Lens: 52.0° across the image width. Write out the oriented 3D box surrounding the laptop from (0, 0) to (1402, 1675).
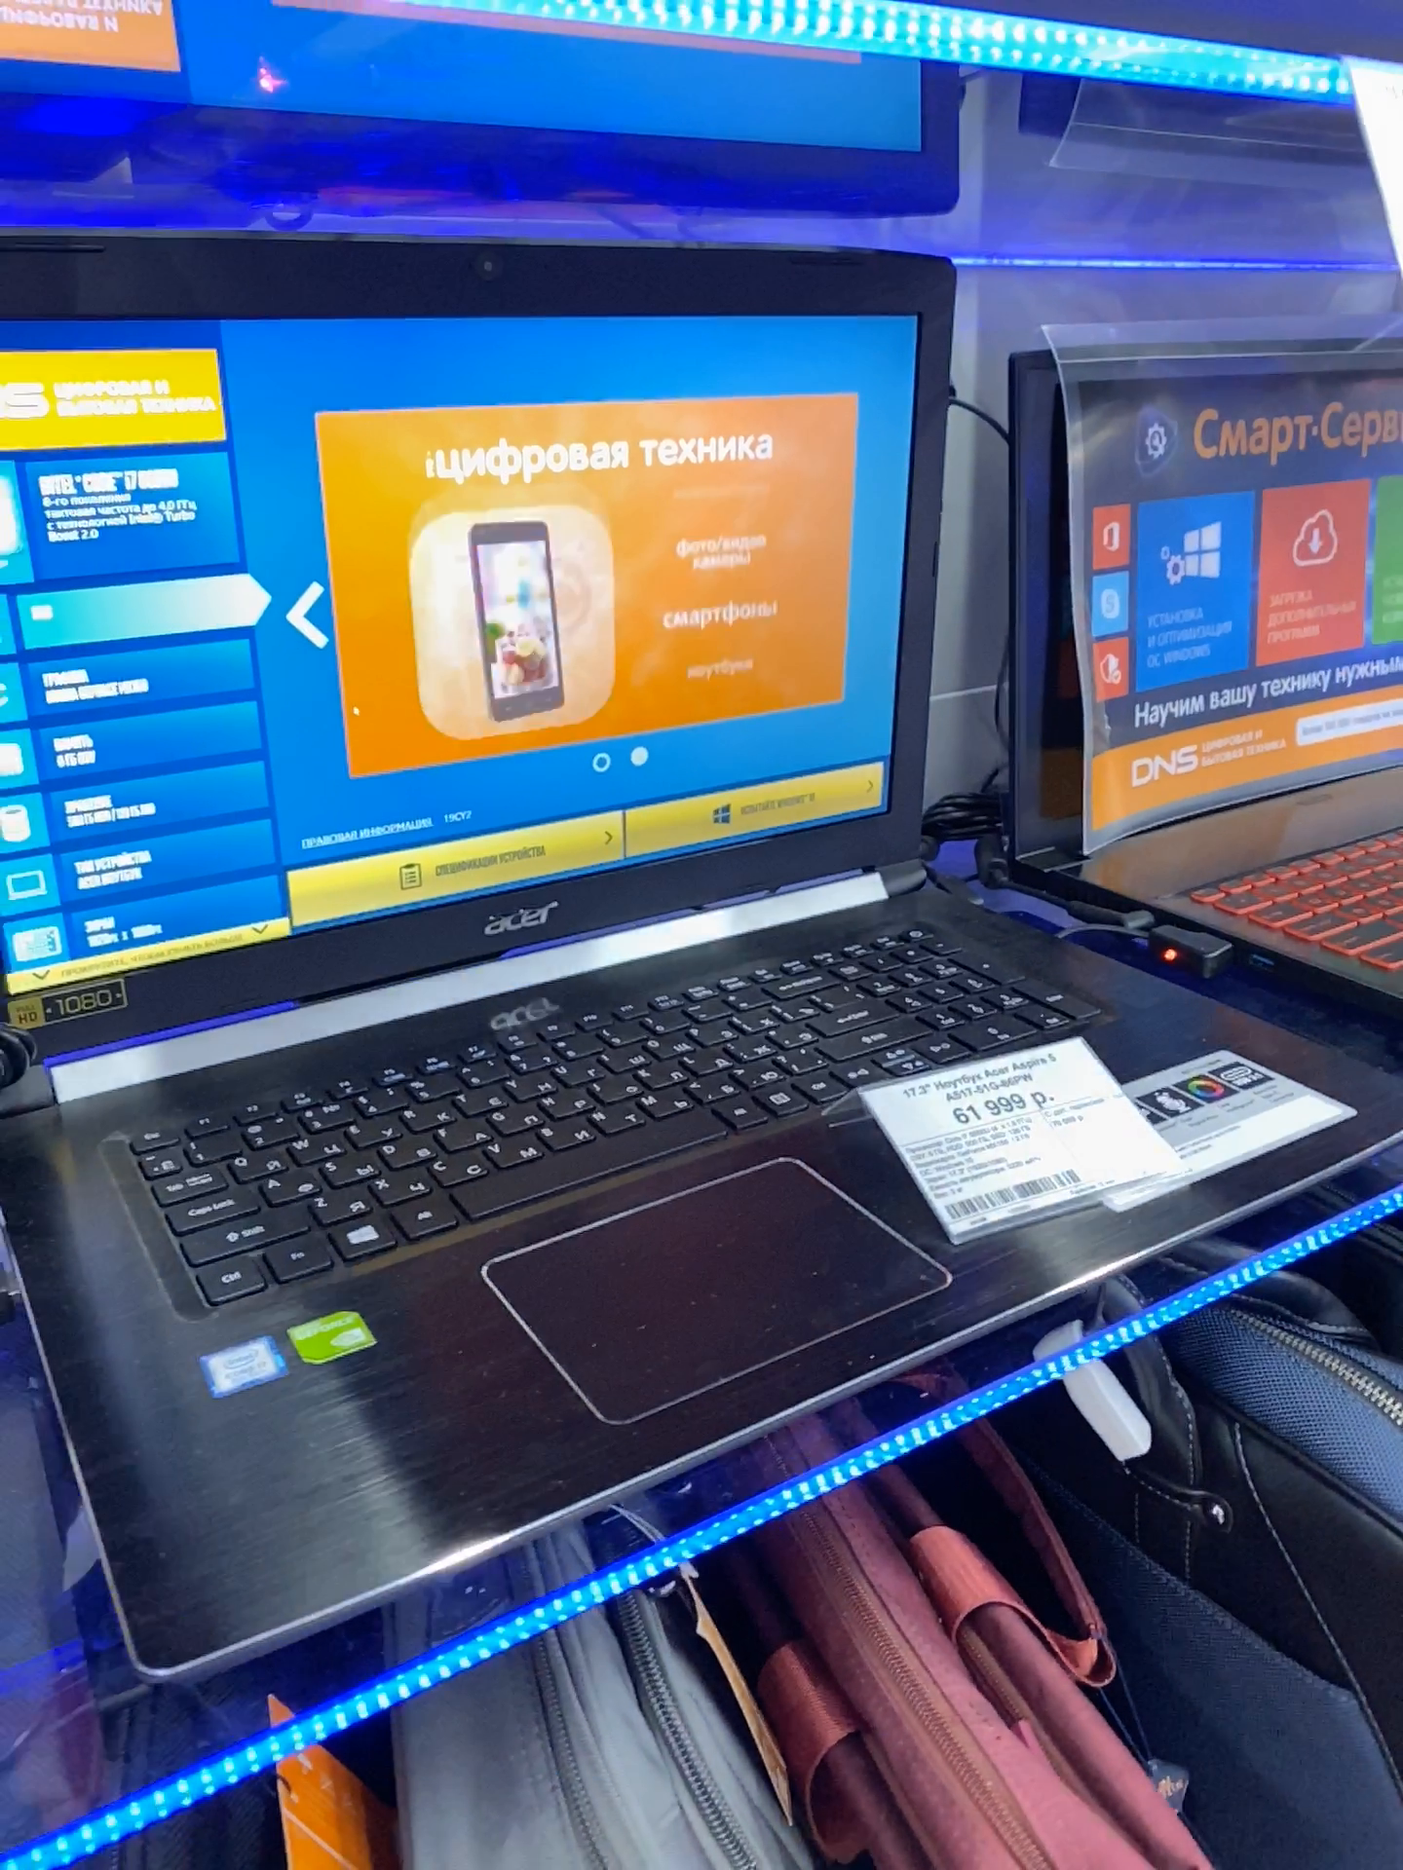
[{"bbox_3d":[0.001,-0.069,0.440,0.422,0.277,0.273,-13,23,-29],"label":"laptop"}]
